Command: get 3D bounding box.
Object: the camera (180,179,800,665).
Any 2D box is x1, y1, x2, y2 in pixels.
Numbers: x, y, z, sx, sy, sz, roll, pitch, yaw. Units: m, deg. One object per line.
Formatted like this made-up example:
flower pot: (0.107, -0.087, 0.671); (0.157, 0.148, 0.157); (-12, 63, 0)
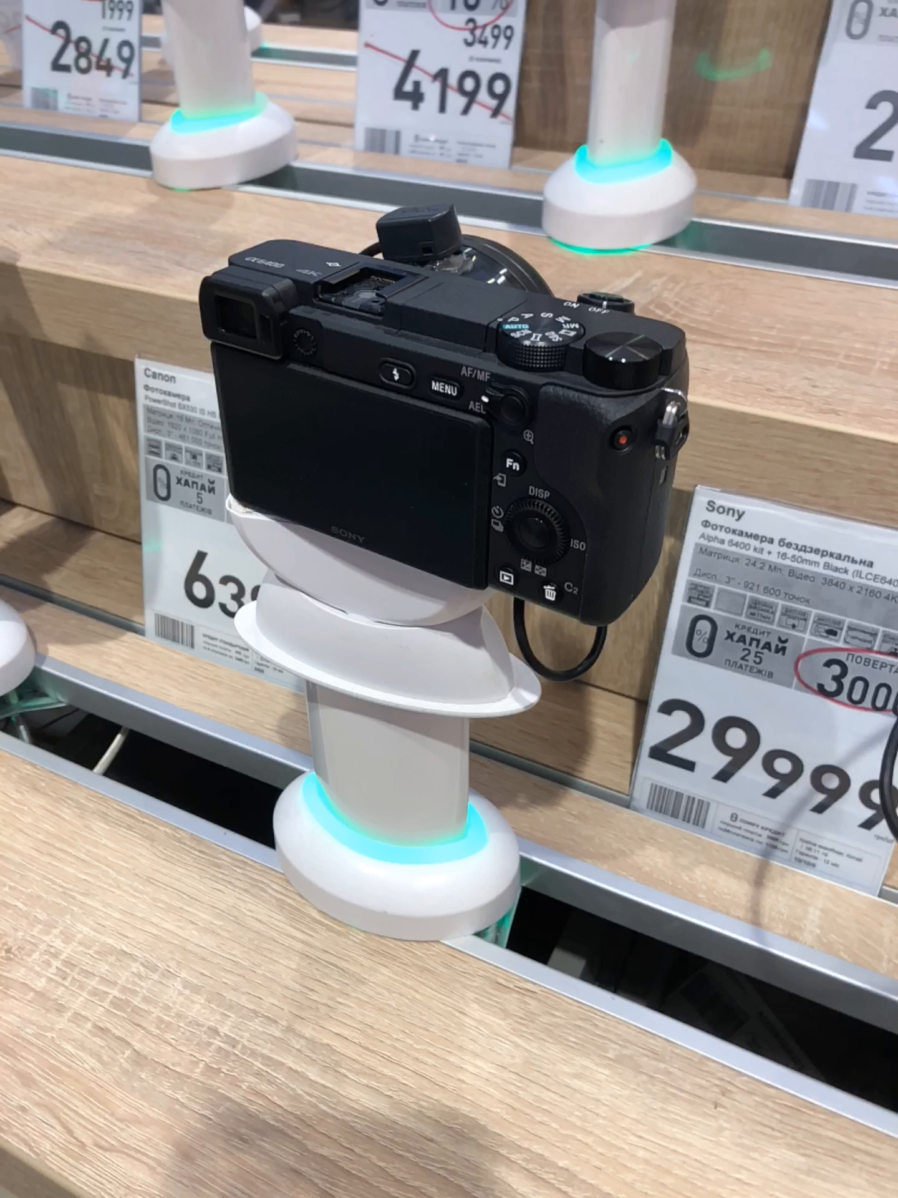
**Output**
camera: (0.012, -0.057, 0.269); (0.122, 0.069, 0.098); (21, 41, 25)
